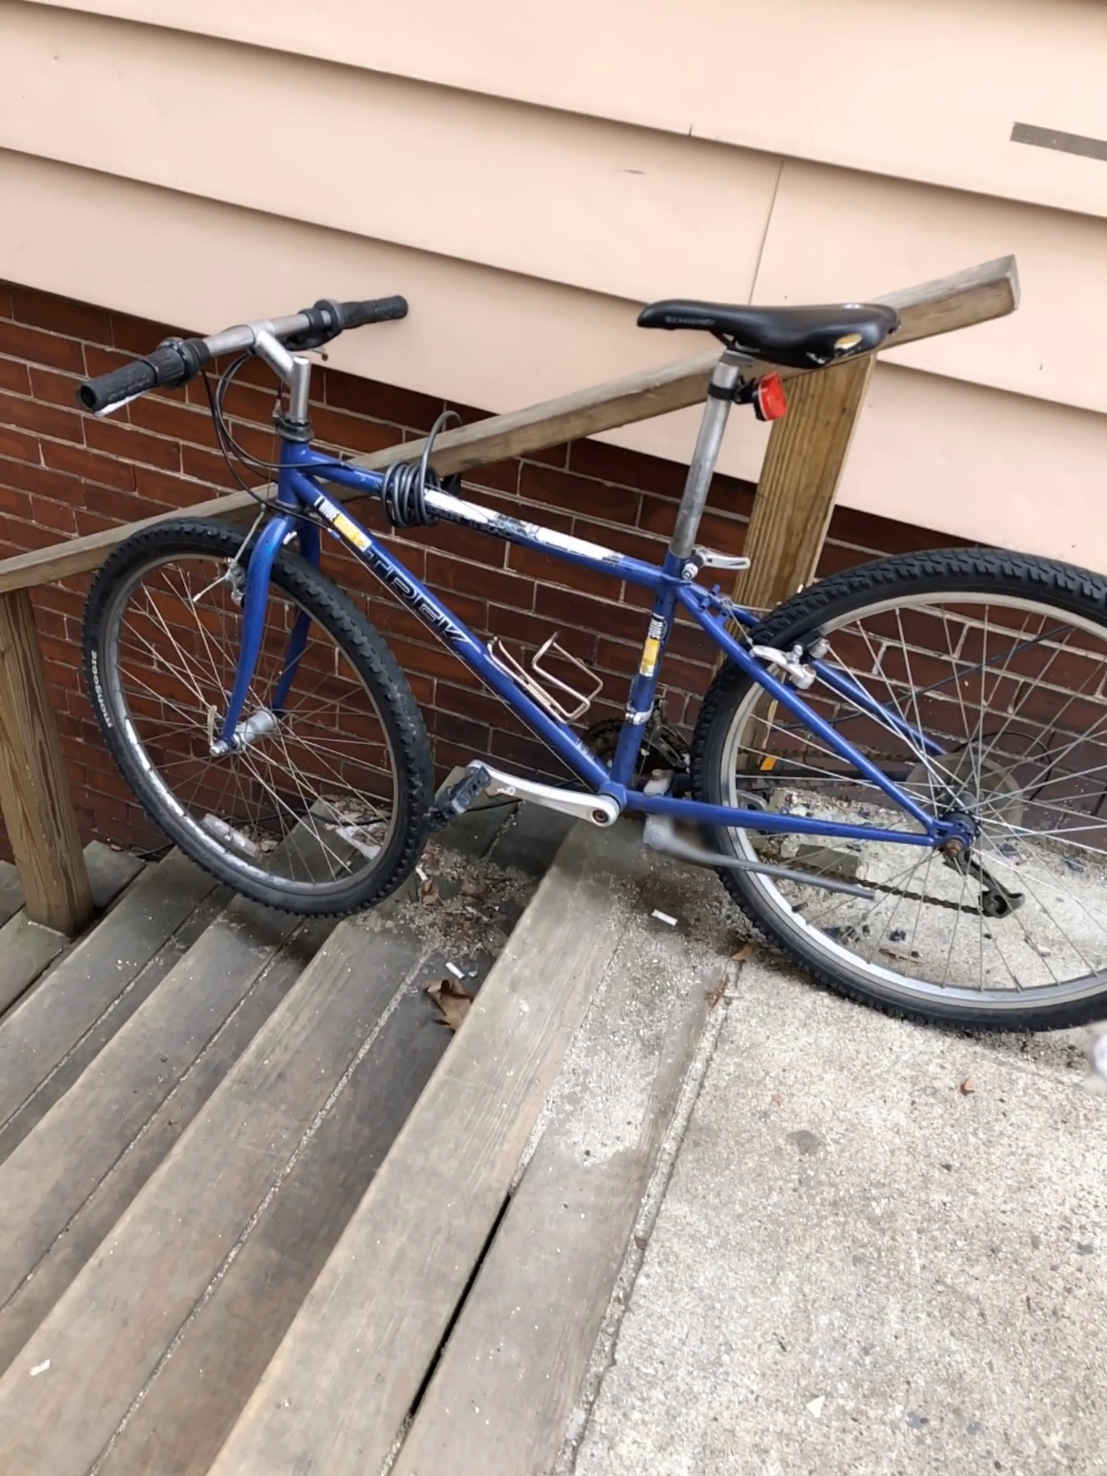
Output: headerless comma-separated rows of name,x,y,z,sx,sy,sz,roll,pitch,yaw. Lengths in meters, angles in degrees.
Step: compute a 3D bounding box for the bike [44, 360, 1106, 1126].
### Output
bike,0.070,-0.093,1.681,1.520,0.619,0.535,11,35,19
